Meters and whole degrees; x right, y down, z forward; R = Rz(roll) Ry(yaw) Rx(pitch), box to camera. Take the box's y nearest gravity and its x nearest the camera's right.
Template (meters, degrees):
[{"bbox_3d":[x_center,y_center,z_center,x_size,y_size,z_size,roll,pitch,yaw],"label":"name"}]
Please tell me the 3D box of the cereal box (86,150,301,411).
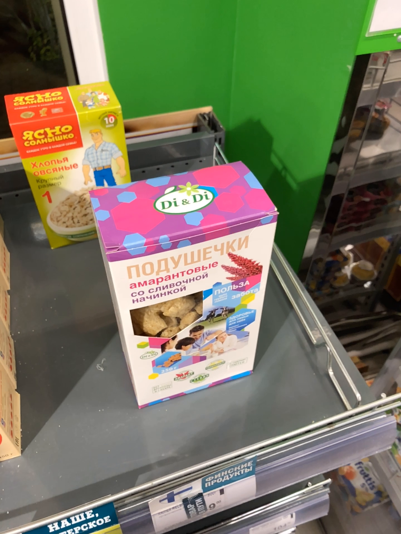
[{"bbox_3d":[-0.009,0.025,0.409,0.140,0.229,0.080,-14,49,-13],"label":"cereal box"}]
